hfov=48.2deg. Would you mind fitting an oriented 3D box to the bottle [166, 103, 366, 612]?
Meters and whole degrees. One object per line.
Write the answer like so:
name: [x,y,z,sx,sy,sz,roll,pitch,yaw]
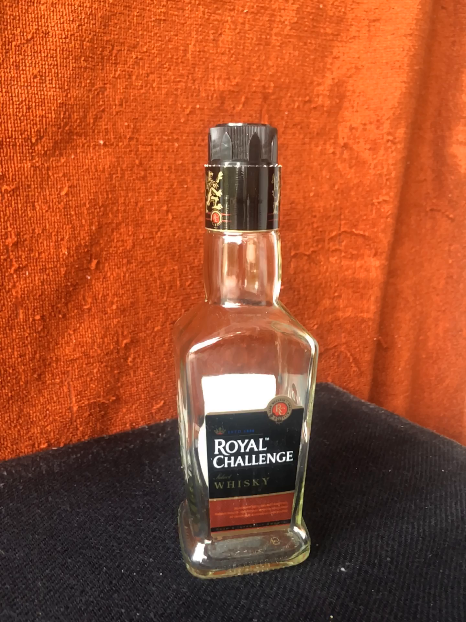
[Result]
bottle: [0.006,0.021,0.214,0.060,0.189,0.050,-1,14,-13]
